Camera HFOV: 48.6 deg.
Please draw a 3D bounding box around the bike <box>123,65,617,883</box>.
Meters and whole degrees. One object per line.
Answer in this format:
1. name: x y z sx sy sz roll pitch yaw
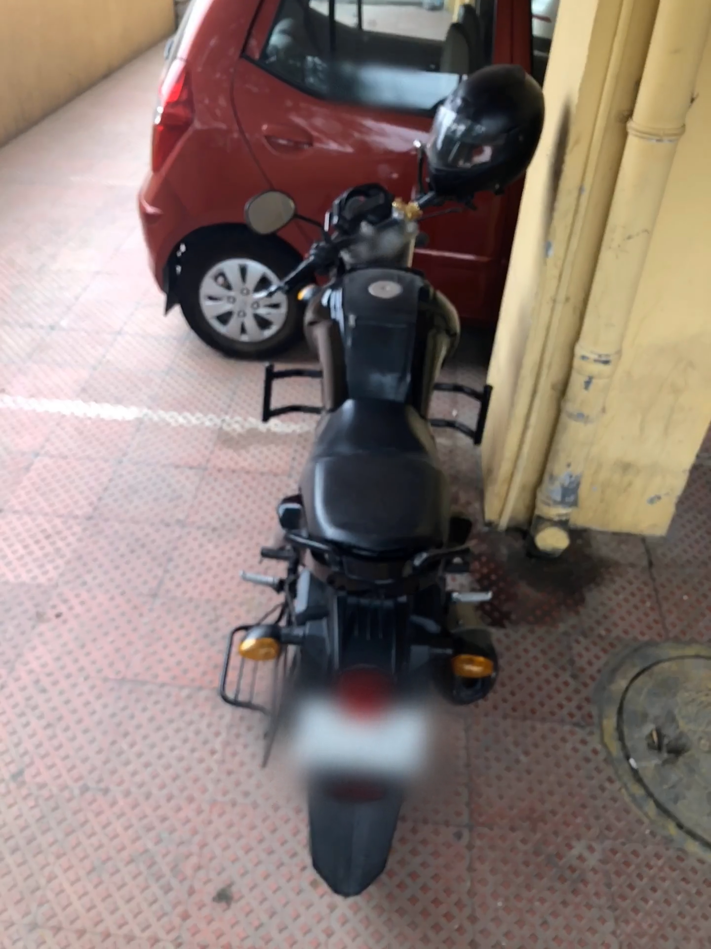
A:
1. bike: -0.081 -0.181 1.977 0.609 1.051 1.809 0 40 -5
